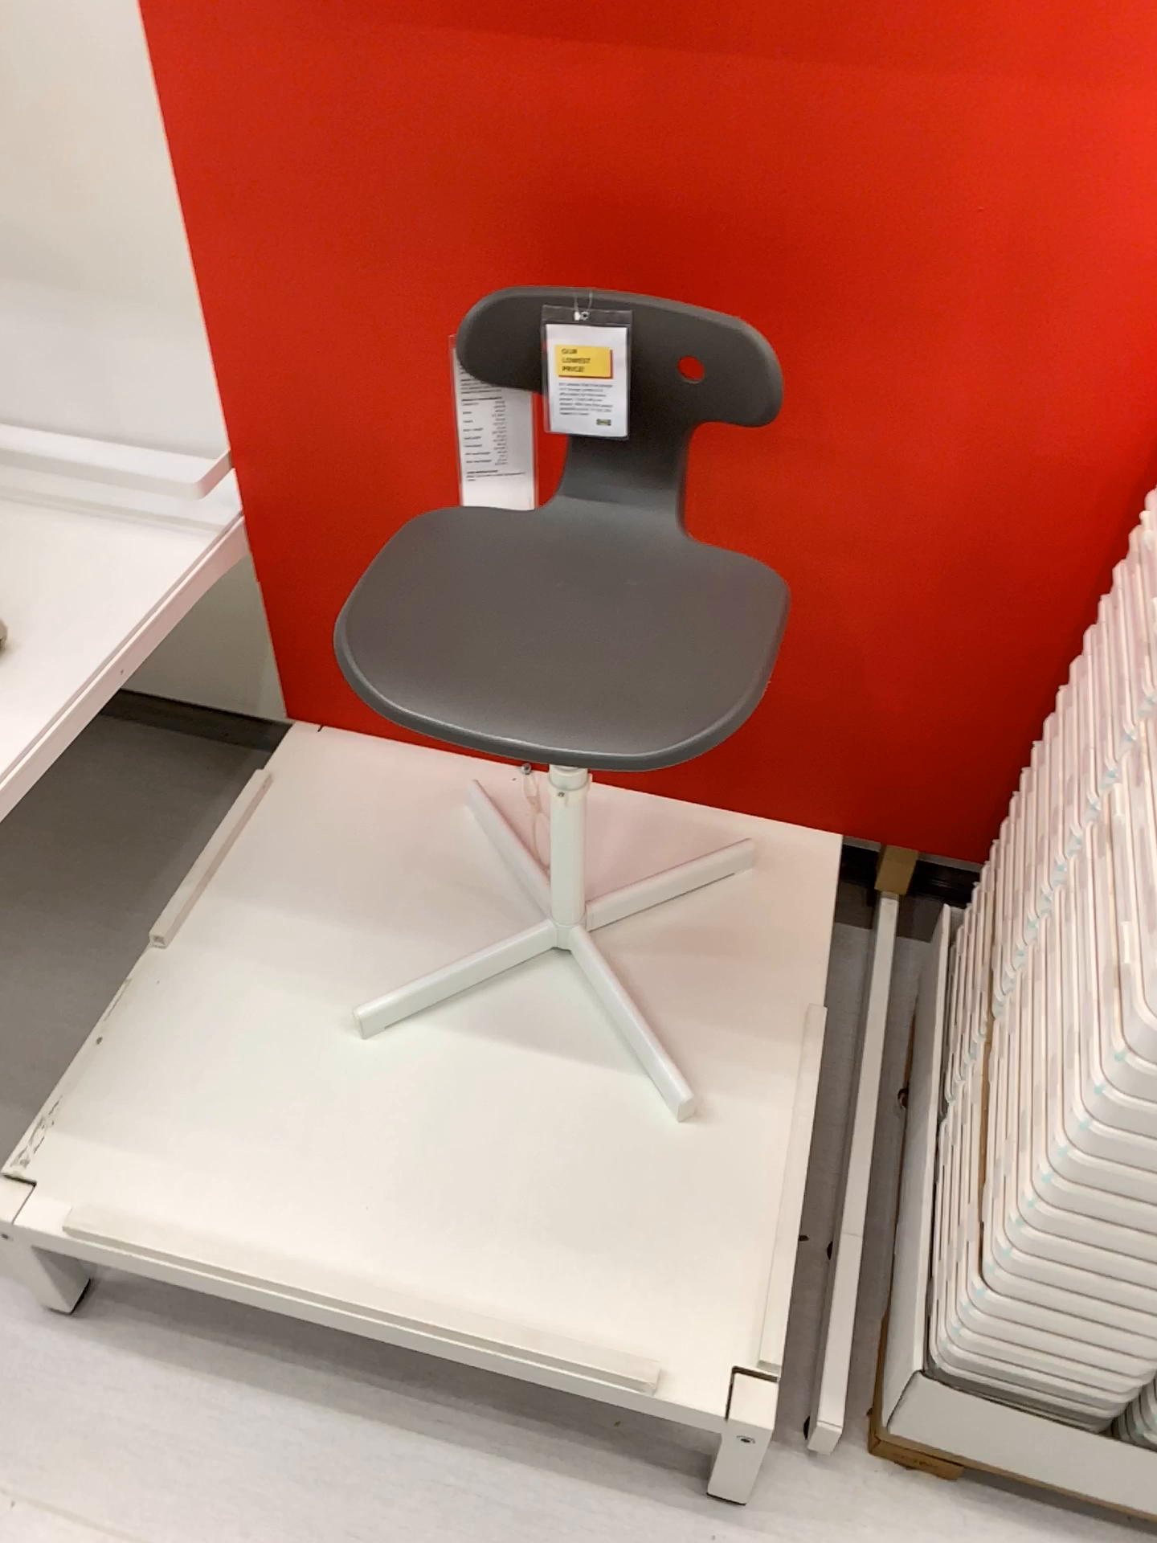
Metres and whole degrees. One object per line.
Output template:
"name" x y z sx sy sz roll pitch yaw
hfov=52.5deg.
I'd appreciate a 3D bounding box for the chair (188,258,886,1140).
"chair" -0.004 -0.060 1.194 0.460 0.697 0.452 11 44 10
